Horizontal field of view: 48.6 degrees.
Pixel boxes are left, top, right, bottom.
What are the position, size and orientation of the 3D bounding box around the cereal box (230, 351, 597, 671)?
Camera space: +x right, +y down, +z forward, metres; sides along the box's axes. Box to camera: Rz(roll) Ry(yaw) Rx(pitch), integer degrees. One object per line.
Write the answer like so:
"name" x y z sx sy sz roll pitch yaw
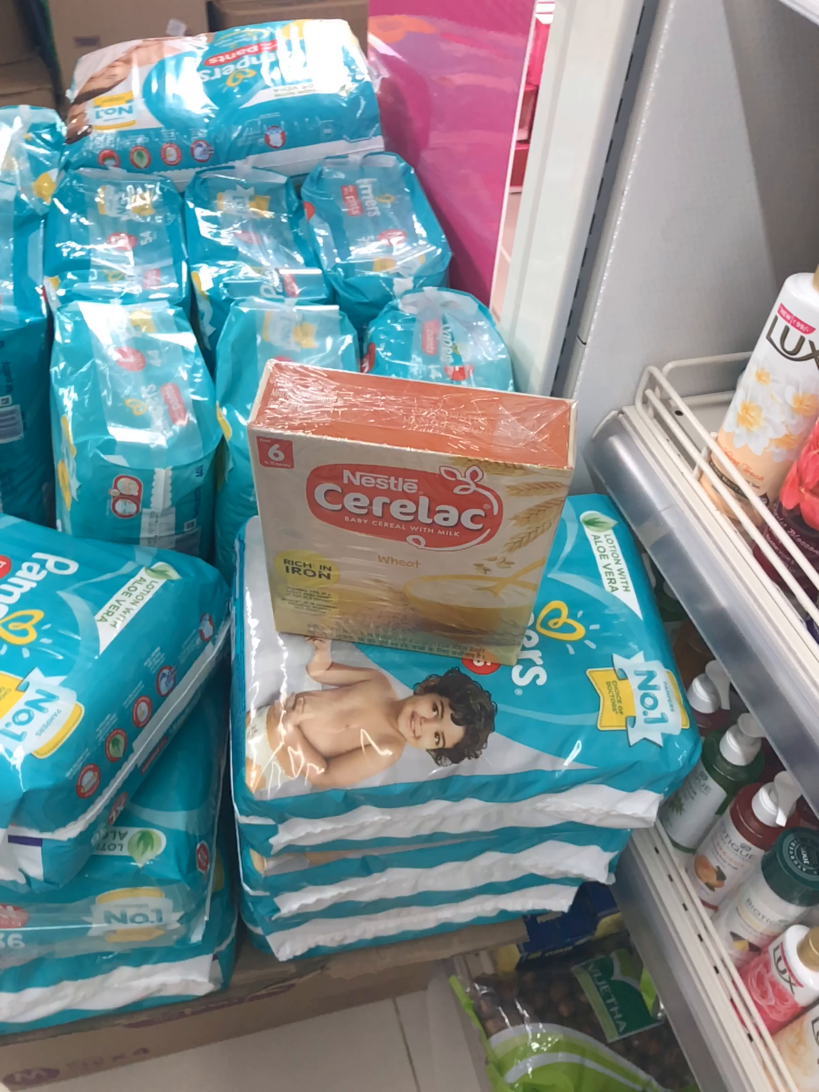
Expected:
"cereal box" 0.000 -0.009 0.480 0.160 0.179 0.050 8 55 2
